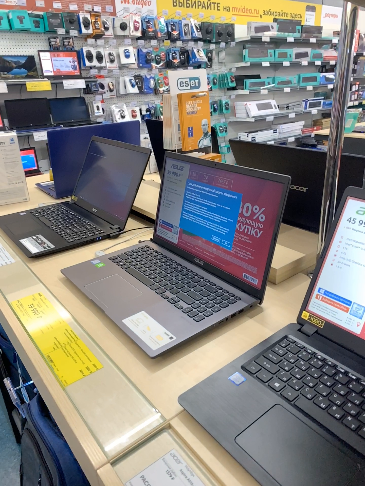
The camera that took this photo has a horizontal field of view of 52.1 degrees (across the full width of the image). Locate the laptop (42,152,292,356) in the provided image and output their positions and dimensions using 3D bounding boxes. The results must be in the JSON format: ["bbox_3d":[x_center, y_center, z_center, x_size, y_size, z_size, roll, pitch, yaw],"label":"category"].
[{"bbox_3d":[-0.043,-0.027,0.724,0.297,0.217,0.367,-19,28,-33],"label":"laptop"}]

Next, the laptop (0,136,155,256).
[{"bbox_3d":[-0.339,-0.167,1.085,0.361,0.214,0.351,-18,29,-34],"label":"laptop"}]
